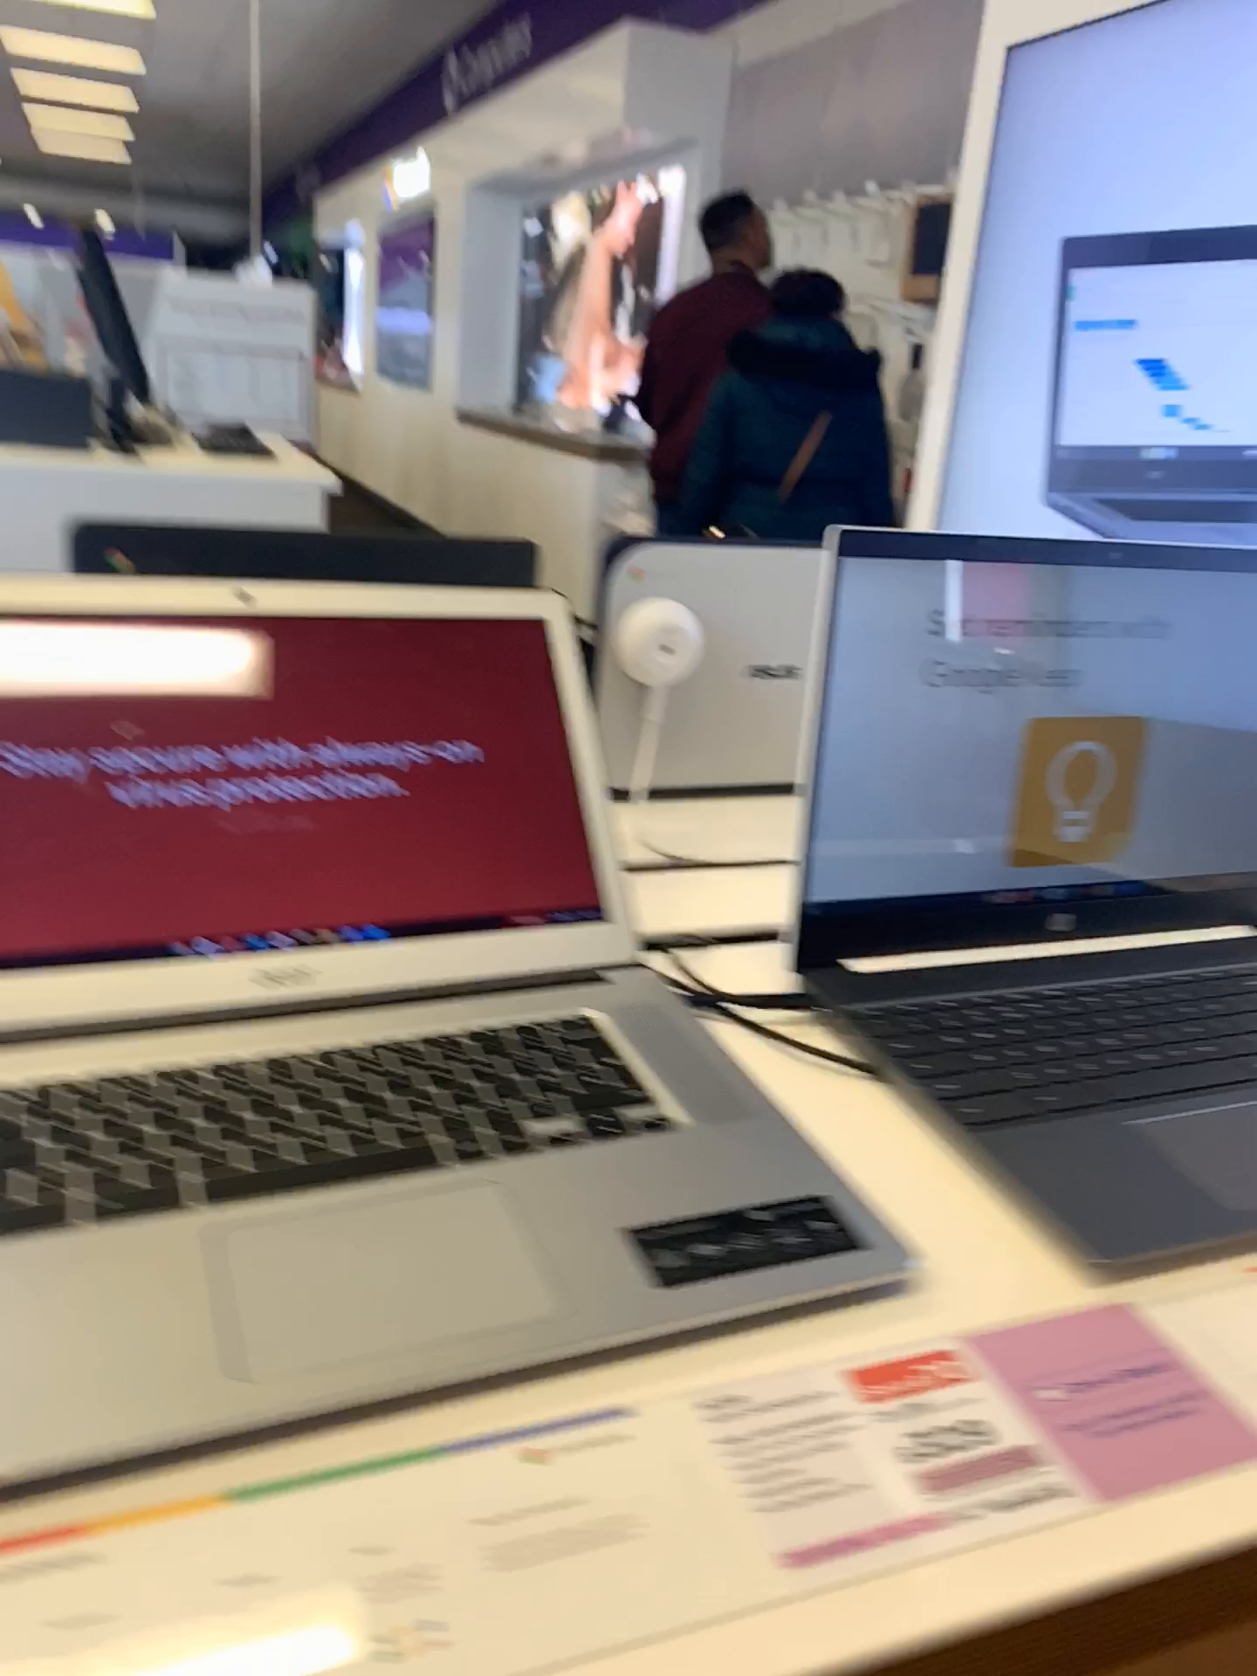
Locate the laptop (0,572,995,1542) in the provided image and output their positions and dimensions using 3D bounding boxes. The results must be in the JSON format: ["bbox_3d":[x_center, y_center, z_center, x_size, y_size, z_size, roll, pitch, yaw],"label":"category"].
[{"bbox_3d":[-0.137,0.013,0.568,0.376,0.175,0.427,-4,22,-23],"label":"laptop"}]

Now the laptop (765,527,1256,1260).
[{"bbox_3d":[0.302,-0.002,0.638,0.358,0.233,0.269,-2,21,-23],"label":"laptop"}]
